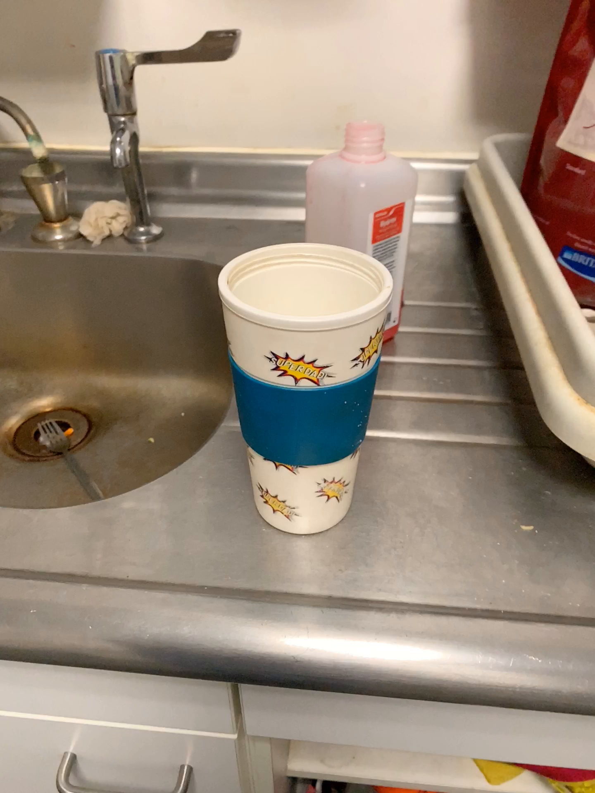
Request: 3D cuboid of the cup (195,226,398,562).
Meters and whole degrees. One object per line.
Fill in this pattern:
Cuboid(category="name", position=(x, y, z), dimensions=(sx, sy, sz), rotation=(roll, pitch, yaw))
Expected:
Cuboid(category="cup", position=(0.004, 0.000, 0.364), dimensions=(0.089, 0.167, 0.093), rotation=(0, 36, 0))
